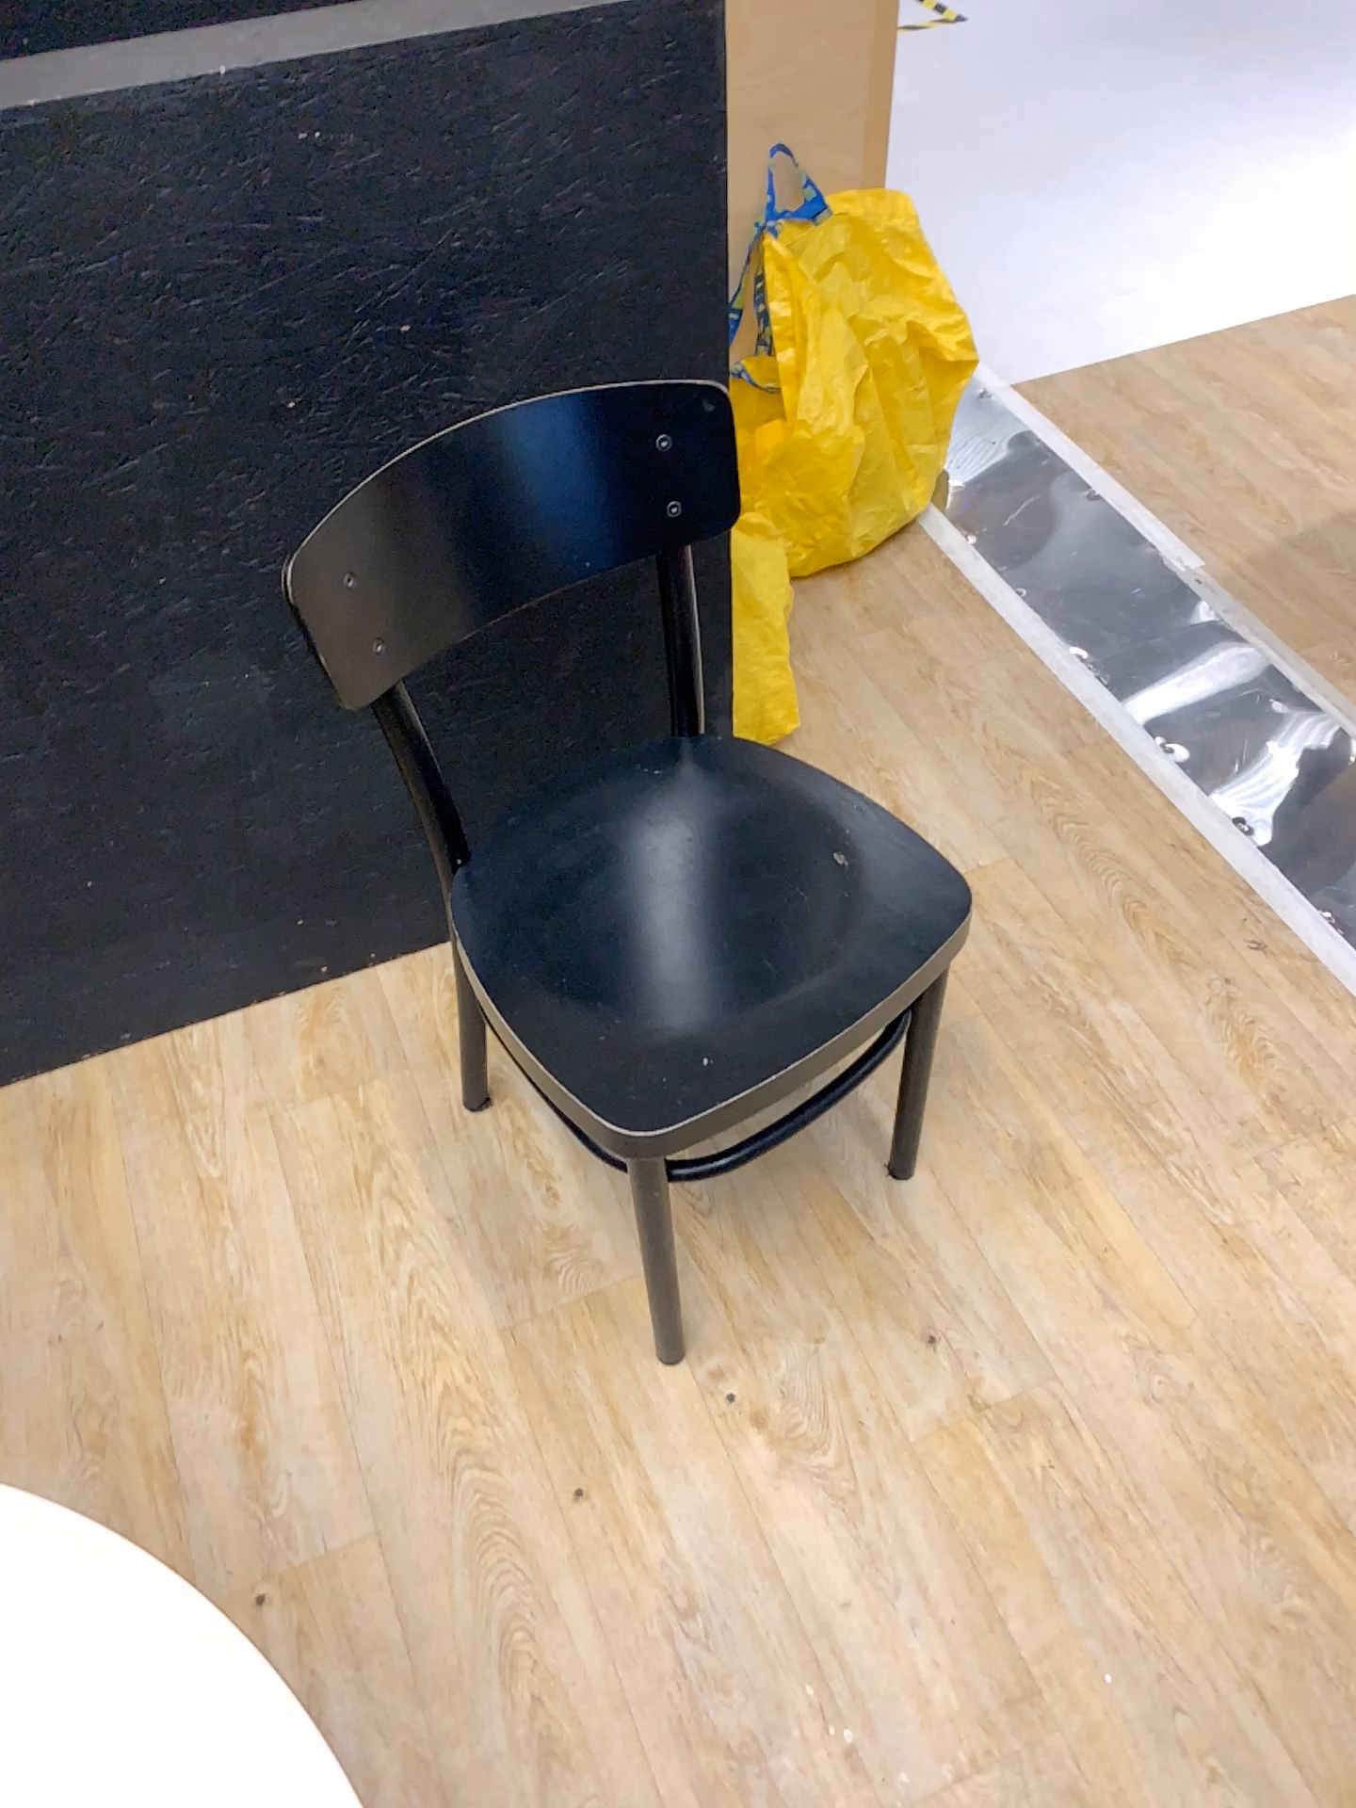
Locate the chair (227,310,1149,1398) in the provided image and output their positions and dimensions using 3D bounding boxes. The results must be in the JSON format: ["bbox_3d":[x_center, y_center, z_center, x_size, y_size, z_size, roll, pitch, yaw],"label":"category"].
[{"bbox_3d":[0.005,-0.026,1.181,0.440,0.698,0.441,-32,54,-25],"label":"chair"}]
